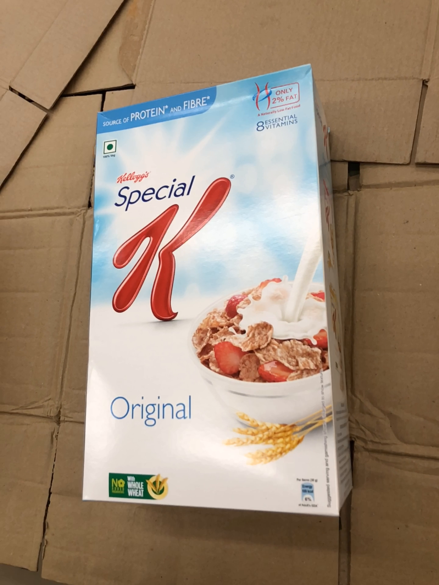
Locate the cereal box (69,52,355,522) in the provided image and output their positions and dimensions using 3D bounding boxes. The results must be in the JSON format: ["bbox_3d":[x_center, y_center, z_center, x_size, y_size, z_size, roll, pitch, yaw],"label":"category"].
[{"bbox_3d":[-0.002,-0.002,0.376,0.180,0.100,0.300,-5,77,19],"label":"cereal box"}]
